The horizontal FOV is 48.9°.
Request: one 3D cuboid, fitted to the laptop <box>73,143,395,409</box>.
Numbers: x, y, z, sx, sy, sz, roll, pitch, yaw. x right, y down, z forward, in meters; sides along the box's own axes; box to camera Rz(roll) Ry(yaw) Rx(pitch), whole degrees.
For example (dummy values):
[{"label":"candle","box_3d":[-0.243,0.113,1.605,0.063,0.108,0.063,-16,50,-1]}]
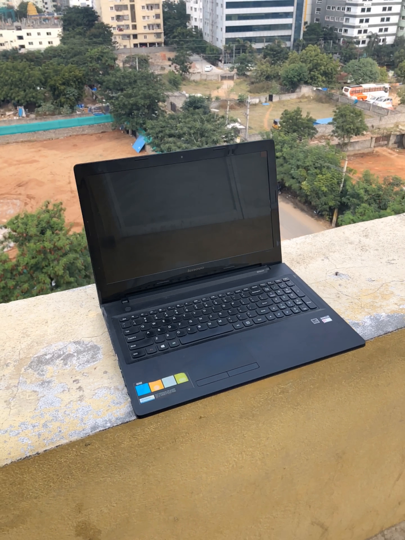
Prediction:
[{"label":"laptop","box_3d":[0.023,-0.028,0.721,0.366,0.229,0.331,-12,35,-19]}]
